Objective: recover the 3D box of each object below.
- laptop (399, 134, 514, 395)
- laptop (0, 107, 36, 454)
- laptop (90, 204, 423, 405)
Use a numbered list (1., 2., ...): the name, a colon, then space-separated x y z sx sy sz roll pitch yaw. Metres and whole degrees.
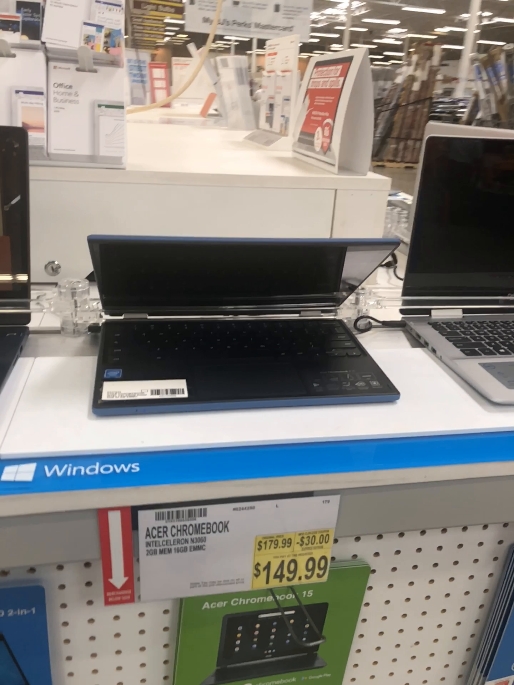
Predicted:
1. laptop: 0.355 -0.098 0.629 0.295 0.211 0.222 -1 25 -10
2. laptop: -0.400 -0.086 0.503 0.325 0.196 0.320 -1 24 -12
3. laptop: -0.014 -0.049 0.569 0.280 0.128 0.187 -1 25 -12
